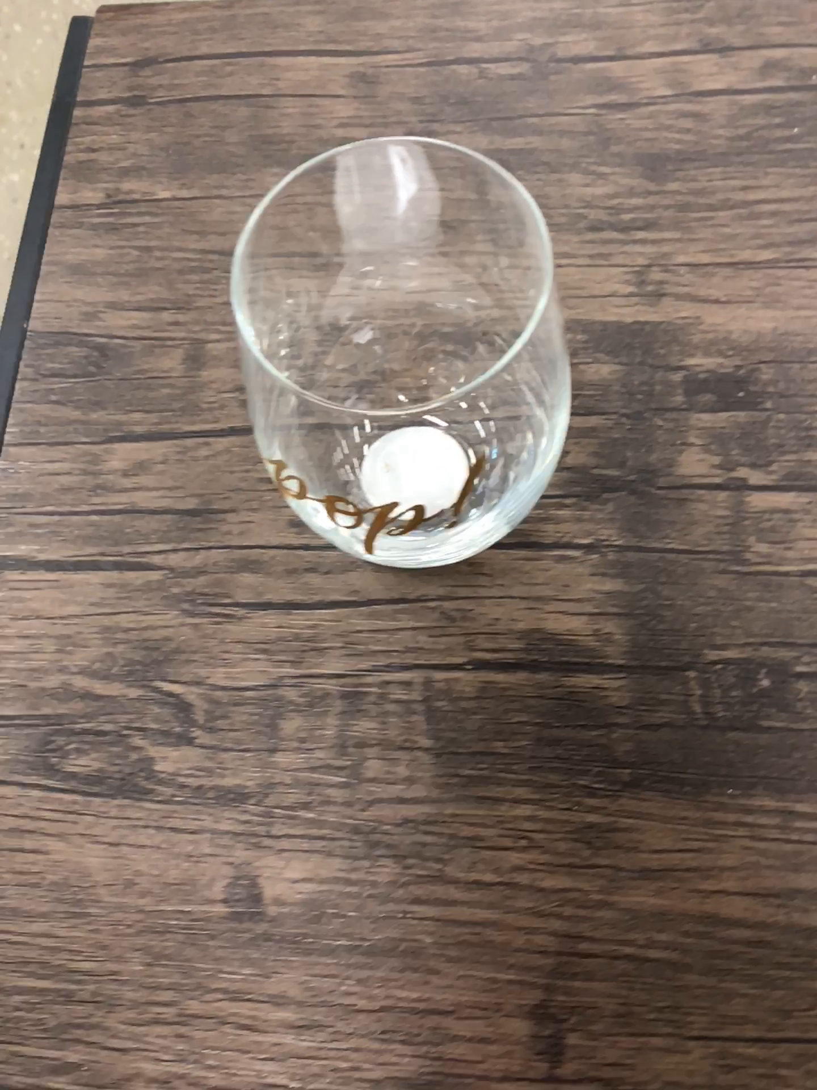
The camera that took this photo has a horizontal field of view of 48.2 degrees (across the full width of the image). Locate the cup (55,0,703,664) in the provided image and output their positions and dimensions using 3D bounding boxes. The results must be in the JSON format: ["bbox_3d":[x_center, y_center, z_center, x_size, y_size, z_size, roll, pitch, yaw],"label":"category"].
[{"bbox_3d":[-0.003,-0.050,0.259,0.100,0.130,0.100,-2,70,4],"label":"cup"}]
